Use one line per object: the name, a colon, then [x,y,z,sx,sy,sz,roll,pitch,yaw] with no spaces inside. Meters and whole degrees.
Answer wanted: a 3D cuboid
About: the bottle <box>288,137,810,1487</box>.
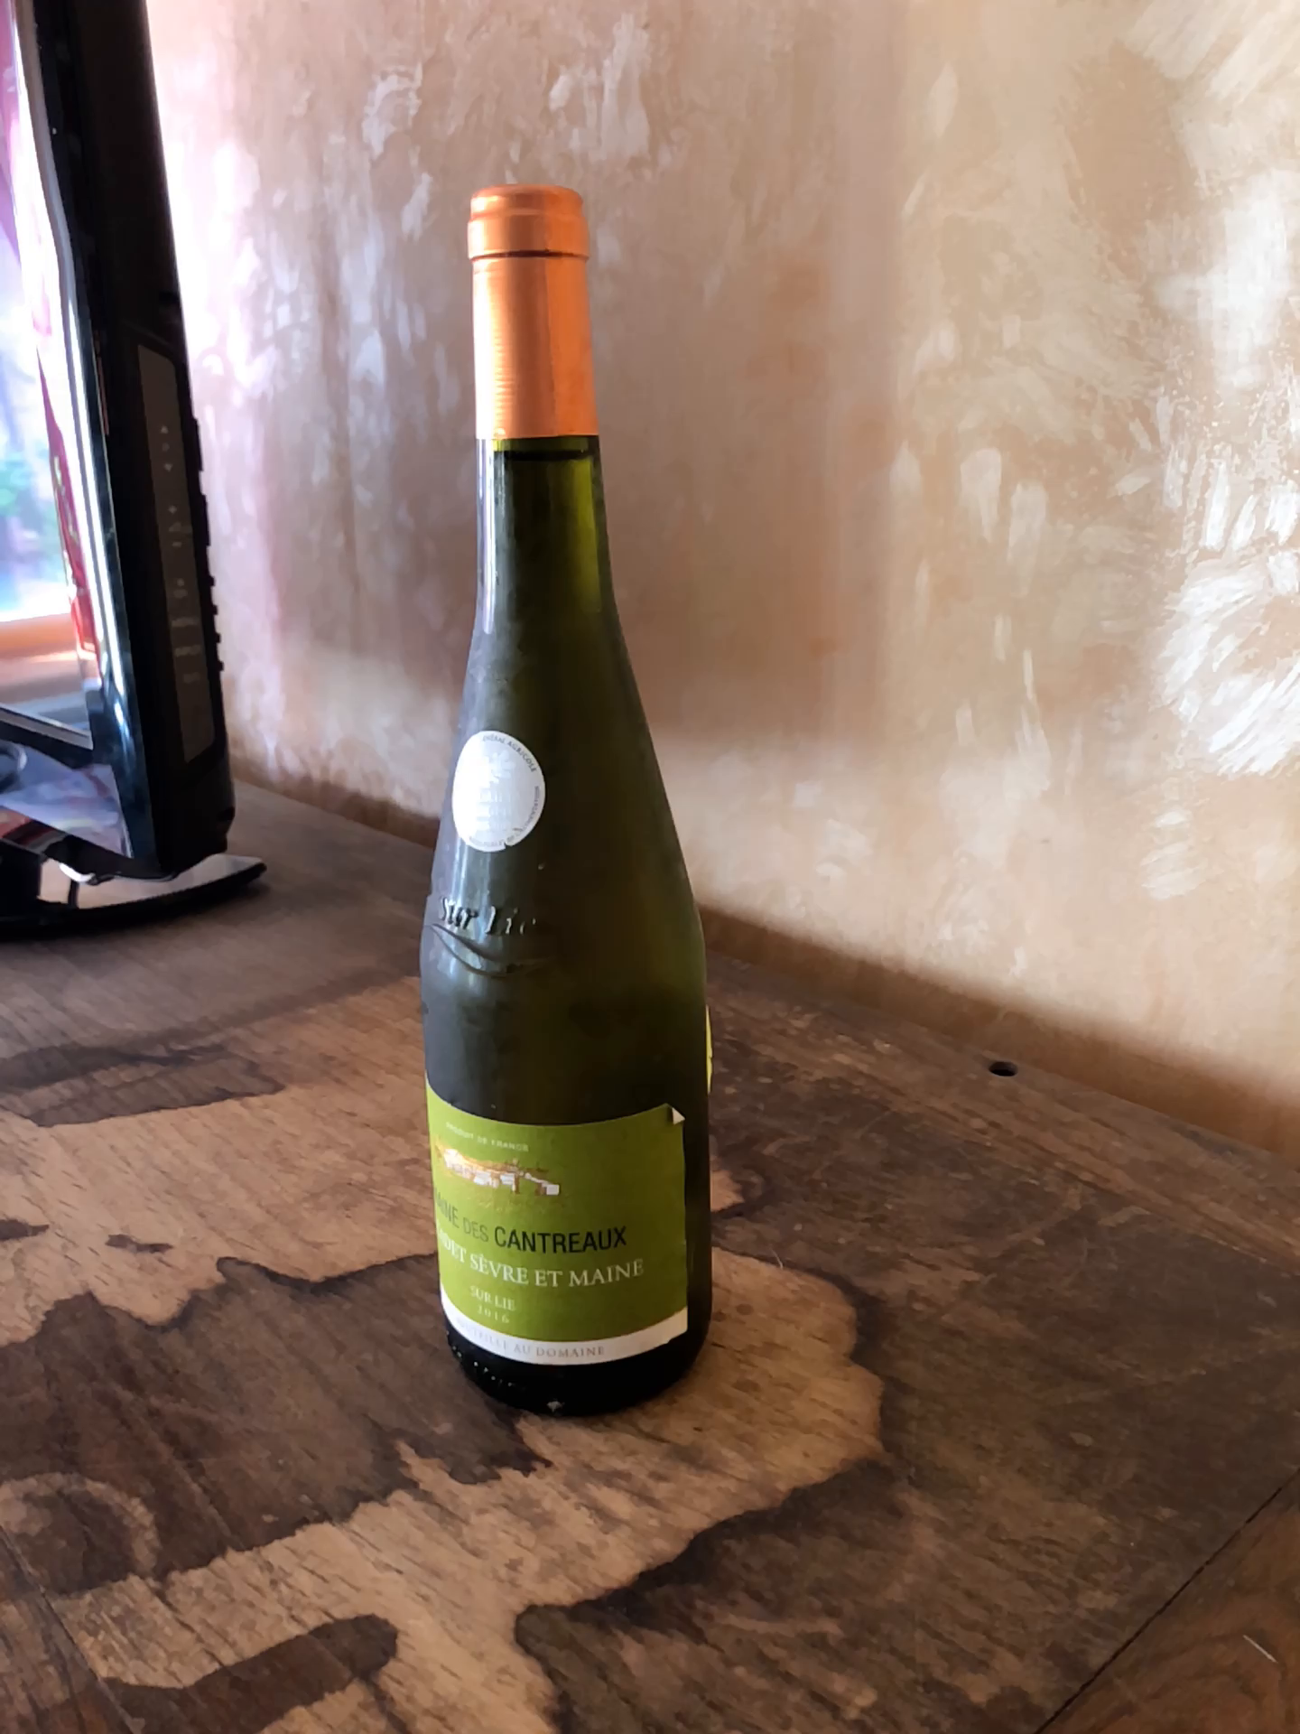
bottle: [-0.022,-0.009,0.374,0.090,0.309,0.080,14,22,40]
